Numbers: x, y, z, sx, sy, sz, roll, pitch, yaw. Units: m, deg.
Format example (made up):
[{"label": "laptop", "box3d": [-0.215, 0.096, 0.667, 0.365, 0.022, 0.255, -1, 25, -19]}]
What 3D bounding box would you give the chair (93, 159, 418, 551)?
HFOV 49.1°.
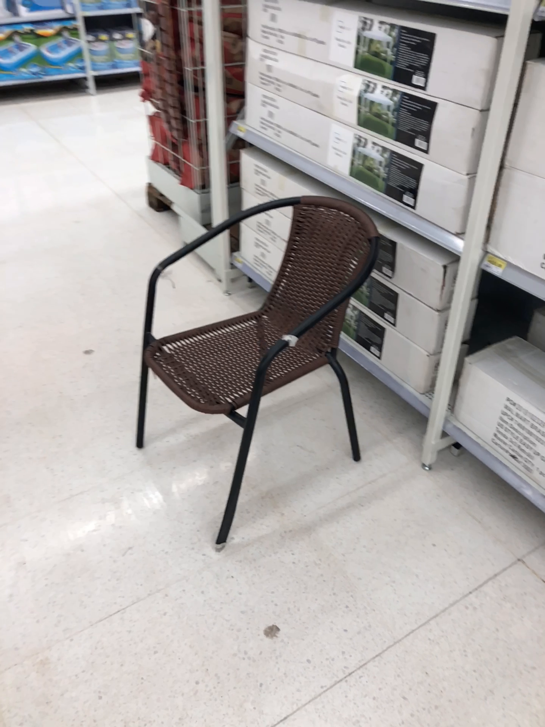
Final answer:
[{"label": "chair", "box3d": [-0.040, -0.048, 1.521, 0.531, 0.715, 0.482, -26, 43, -31]}]
